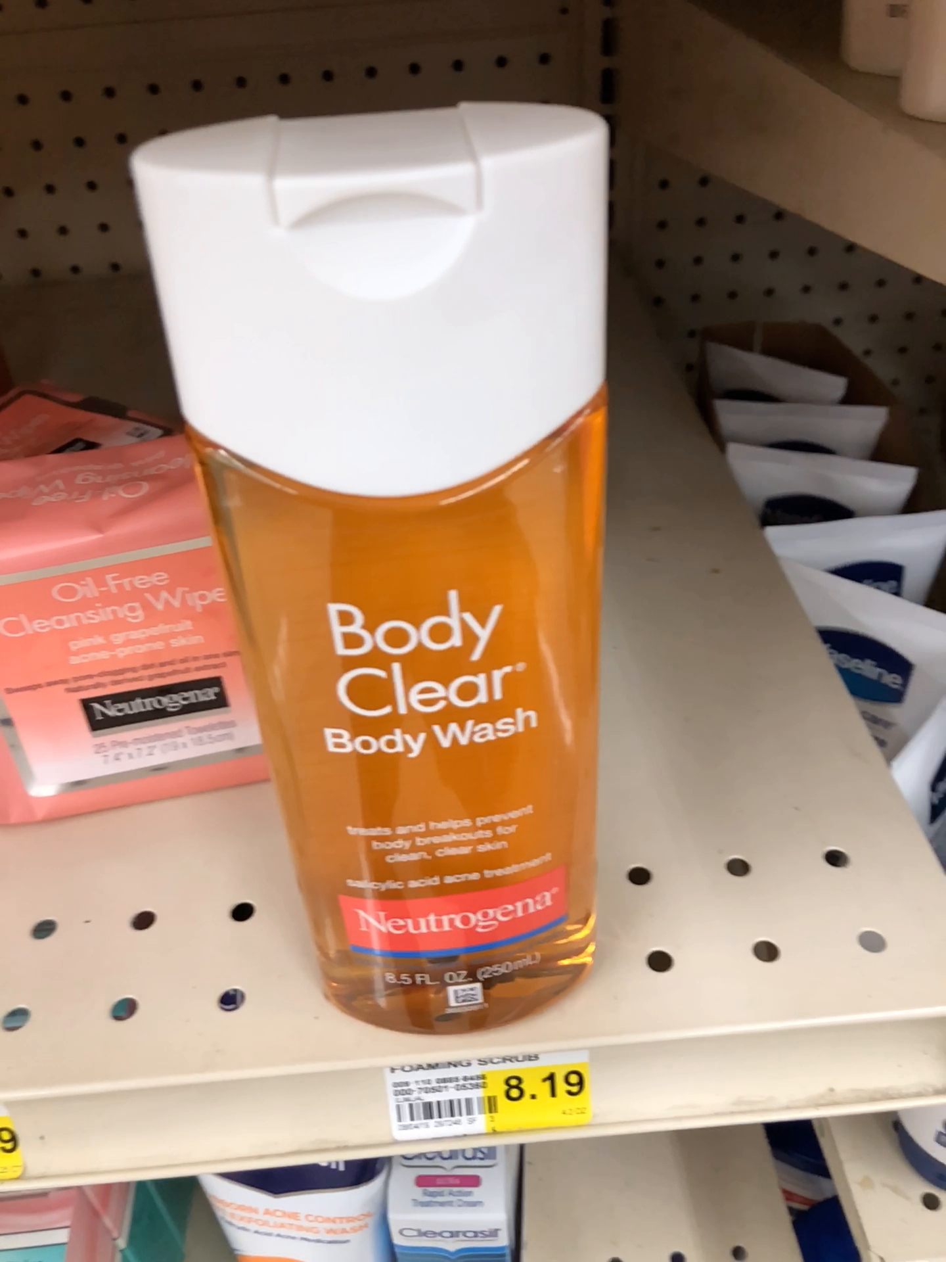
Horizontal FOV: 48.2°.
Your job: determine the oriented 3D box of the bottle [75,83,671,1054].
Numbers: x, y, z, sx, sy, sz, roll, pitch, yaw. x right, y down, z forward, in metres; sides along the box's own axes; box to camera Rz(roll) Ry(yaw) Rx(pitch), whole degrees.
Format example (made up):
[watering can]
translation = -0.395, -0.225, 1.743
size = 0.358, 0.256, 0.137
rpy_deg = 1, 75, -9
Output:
[bottle]
translation = -0.008, 0.008, 0.202
size = 0.070, 0.190, 0.045
rpy_deg = -5, 40, -1
